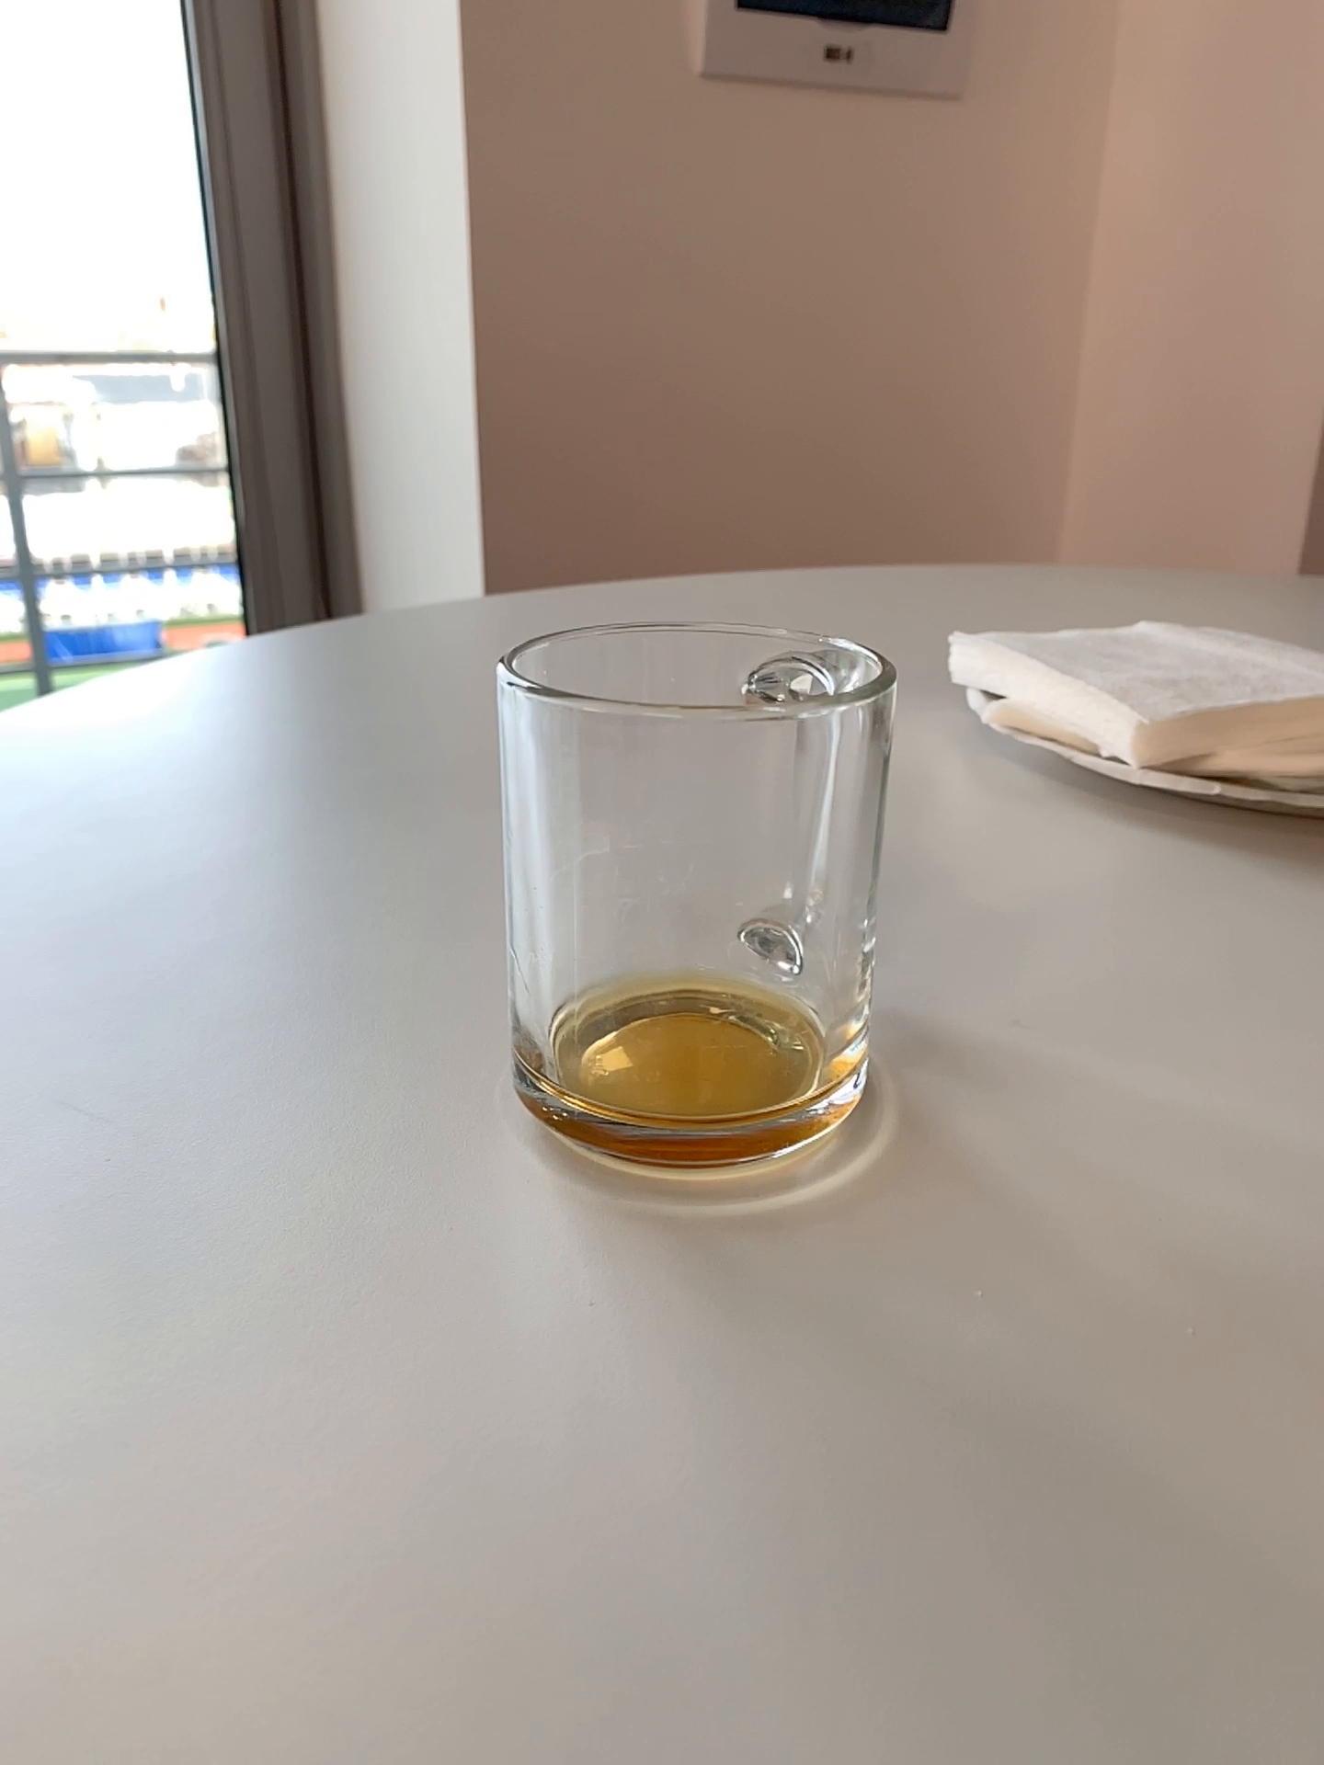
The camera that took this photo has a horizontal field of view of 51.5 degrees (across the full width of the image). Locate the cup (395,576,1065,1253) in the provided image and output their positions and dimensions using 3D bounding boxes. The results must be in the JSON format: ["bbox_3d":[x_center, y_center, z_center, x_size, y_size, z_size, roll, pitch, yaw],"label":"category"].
[{"bbox_3d":[0.016,-0.004,0.275,0.082,0.091,0.102,17,27,35],"label":"cup"}]
